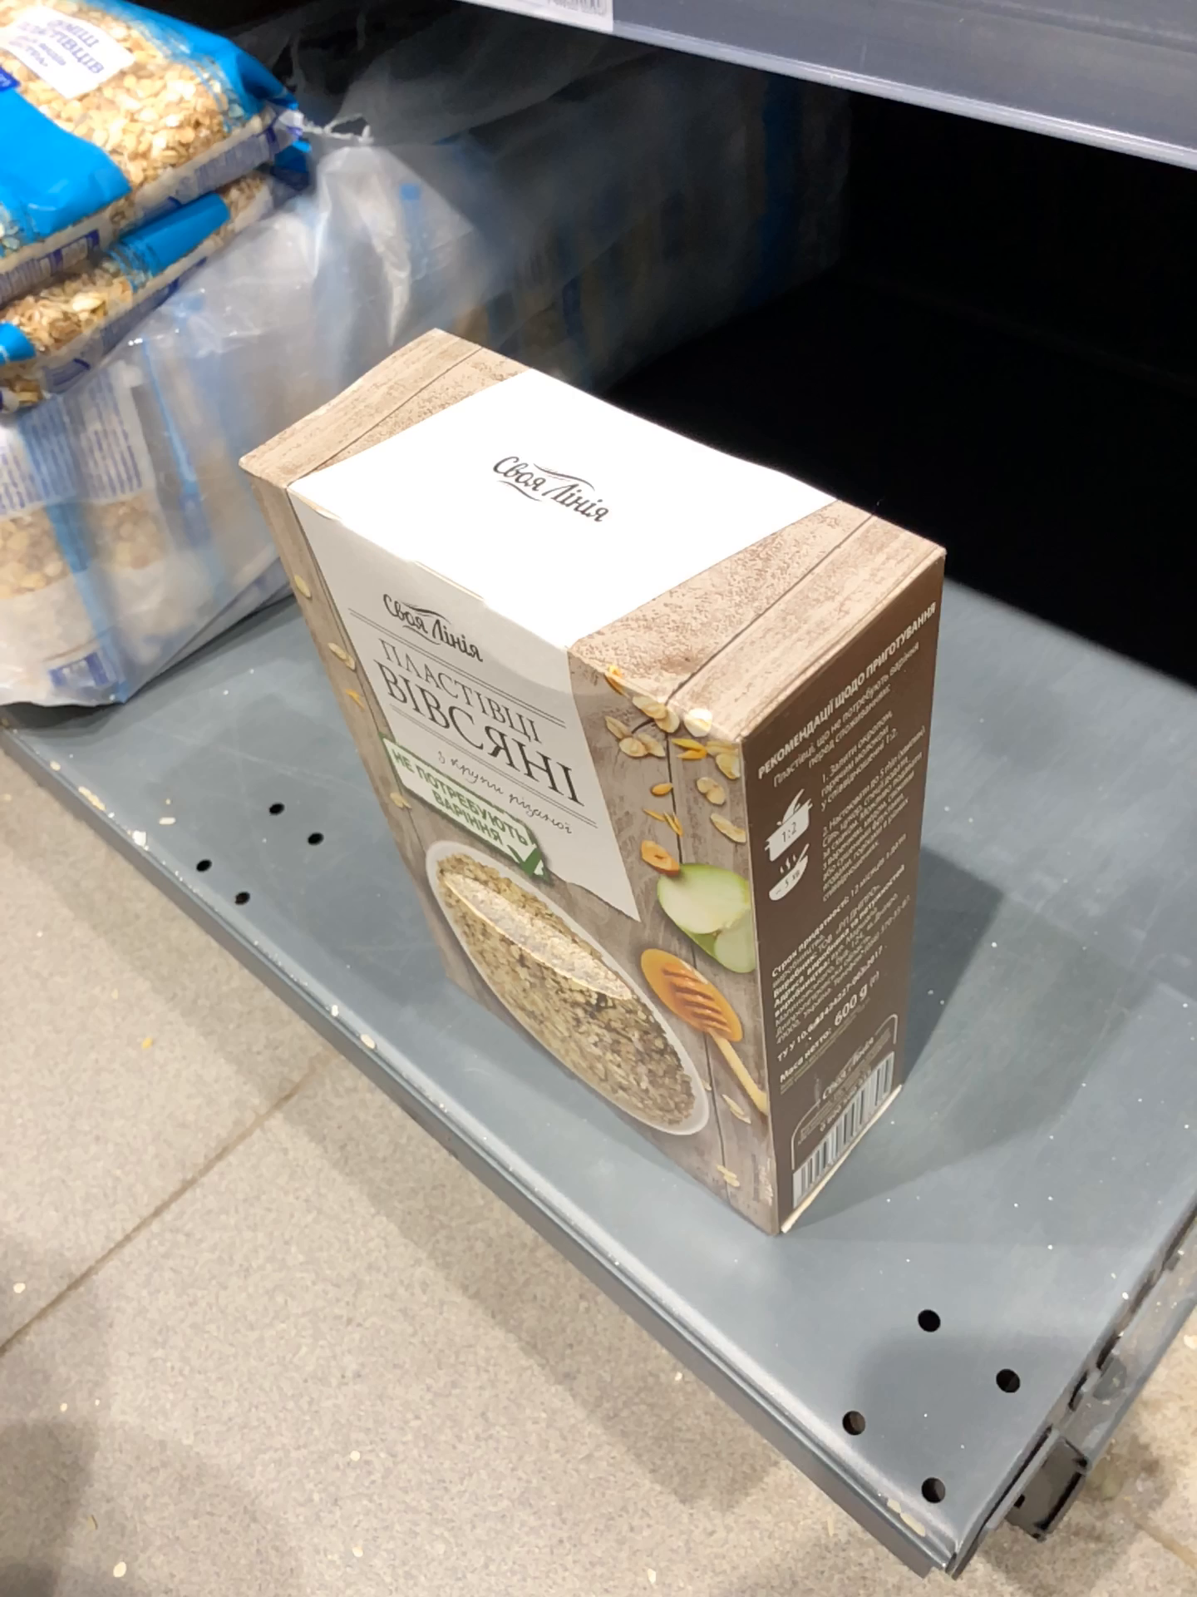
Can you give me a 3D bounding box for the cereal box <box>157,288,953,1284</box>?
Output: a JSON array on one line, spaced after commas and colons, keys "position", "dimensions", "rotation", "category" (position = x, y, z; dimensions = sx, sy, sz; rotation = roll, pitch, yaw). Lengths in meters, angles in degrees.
[{"position": [-0.001, 0.010, 0.346], "dimensions": [0.151, 0.228, 0.070], "rotation": [33, 63, 31], "category": "cereal box"}]
